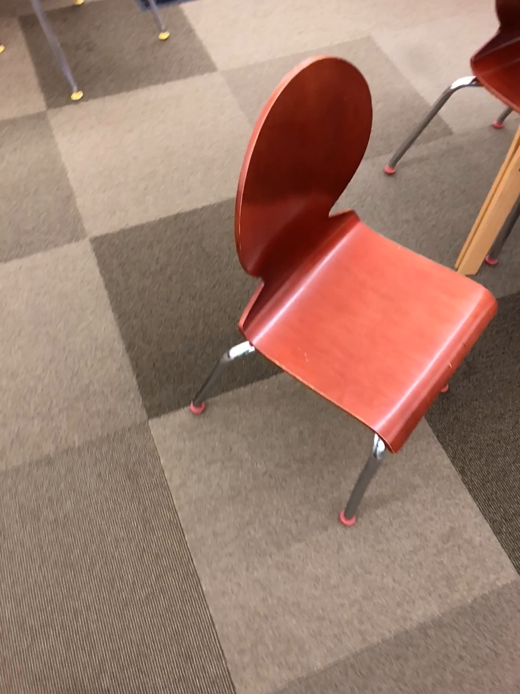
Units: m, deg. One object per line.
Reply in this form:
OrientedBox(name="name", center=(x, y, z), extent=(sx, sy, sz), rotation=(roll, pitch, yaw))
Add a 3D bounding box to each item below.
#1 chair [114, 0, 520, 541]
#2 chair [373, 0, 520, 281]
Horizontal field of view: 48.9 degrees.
OrientedBox(name="chair", center=(0.156, -0.086, 1.045), extent=(0.488, 0.721, 0.488), rotation=(34, 64, 19))
OrientedBox(name="chair", center=(0.693, -0.659, 1.389), extent=(0.508, 0.721, 0.508), rotation=(-25, 62, -16))
